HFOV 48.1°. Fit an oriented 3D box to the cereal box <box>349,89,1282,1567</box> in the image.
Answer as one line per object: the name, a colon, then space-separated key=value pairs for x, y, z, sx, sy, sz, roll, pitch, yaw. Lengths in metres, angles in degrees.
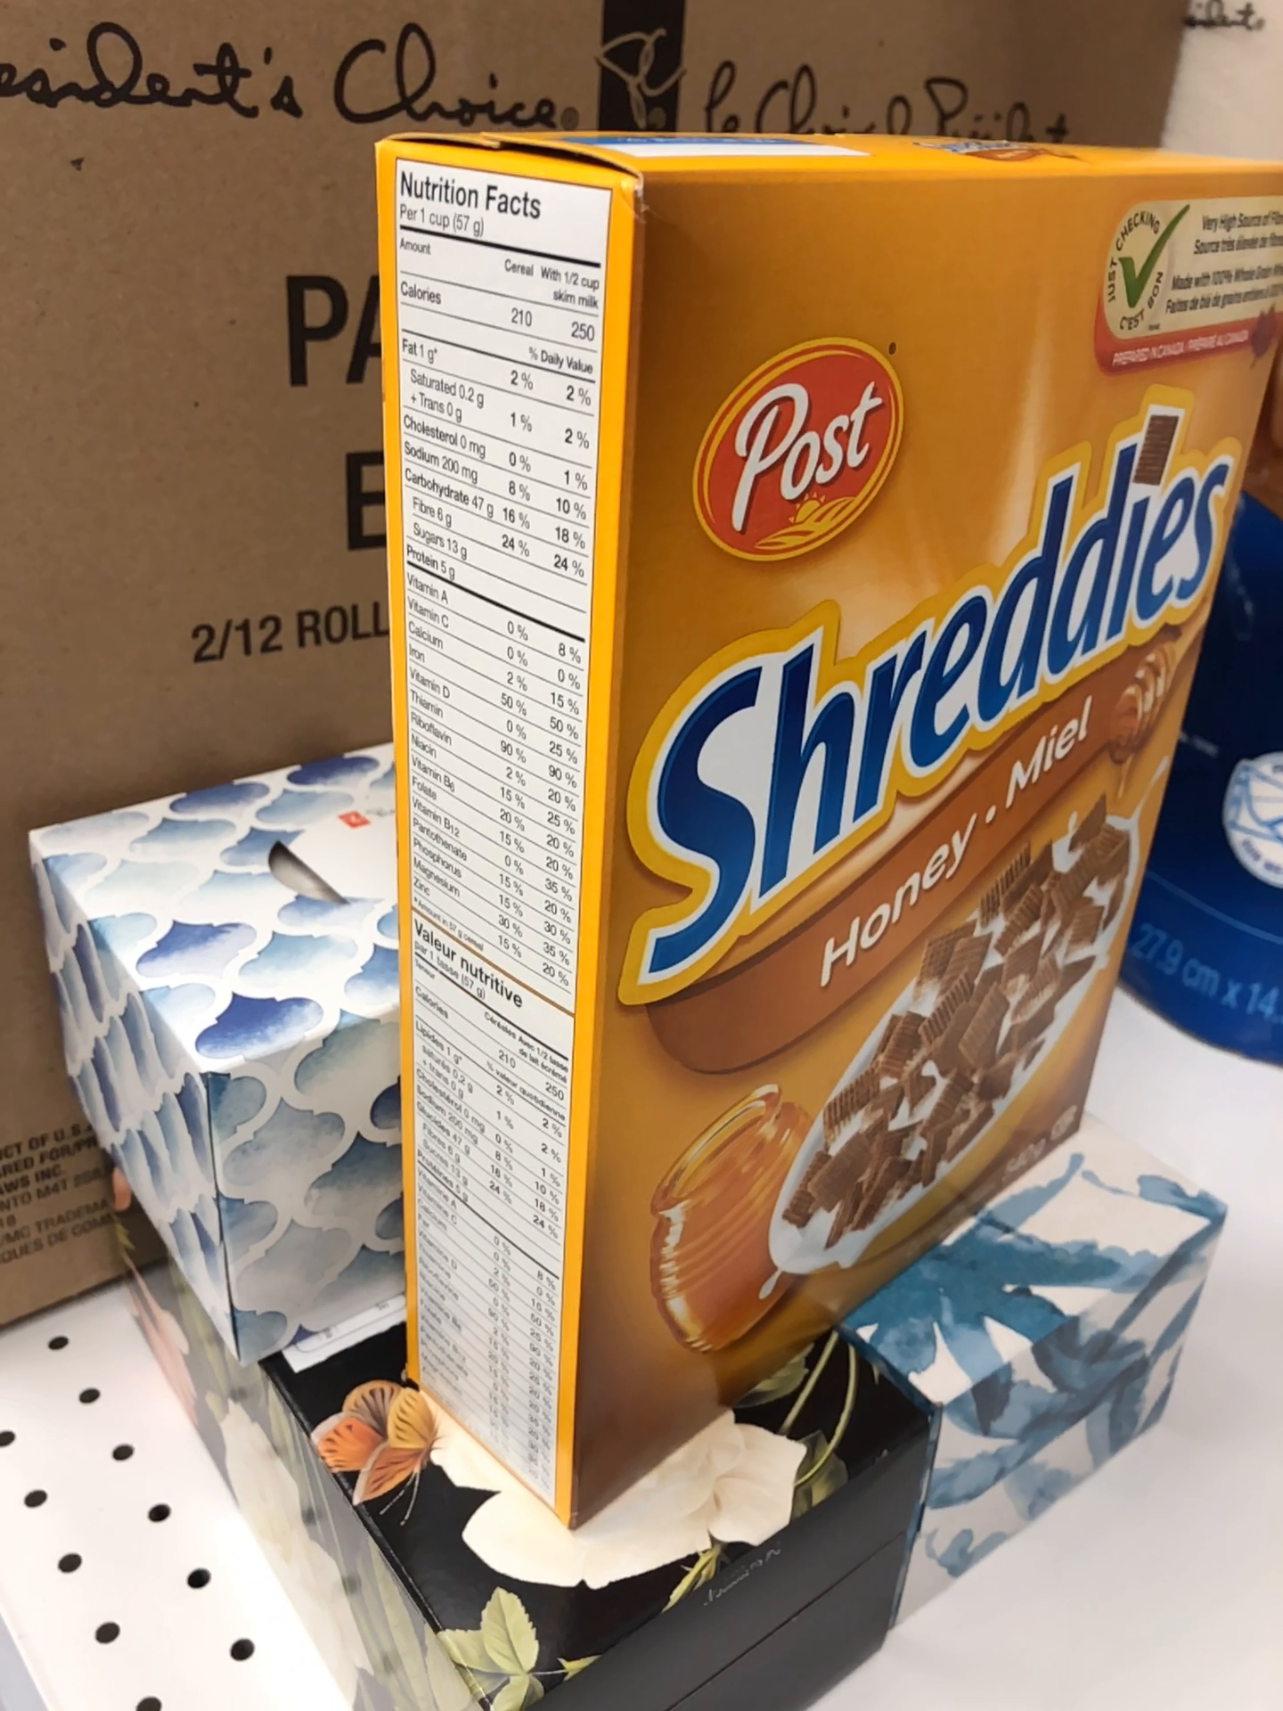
cereal box: x=0.050 y=-0.016 z=0.316 sx=0.060 sy=0.259 sz=0.221 roll=27 pitch=36 yaw=37
